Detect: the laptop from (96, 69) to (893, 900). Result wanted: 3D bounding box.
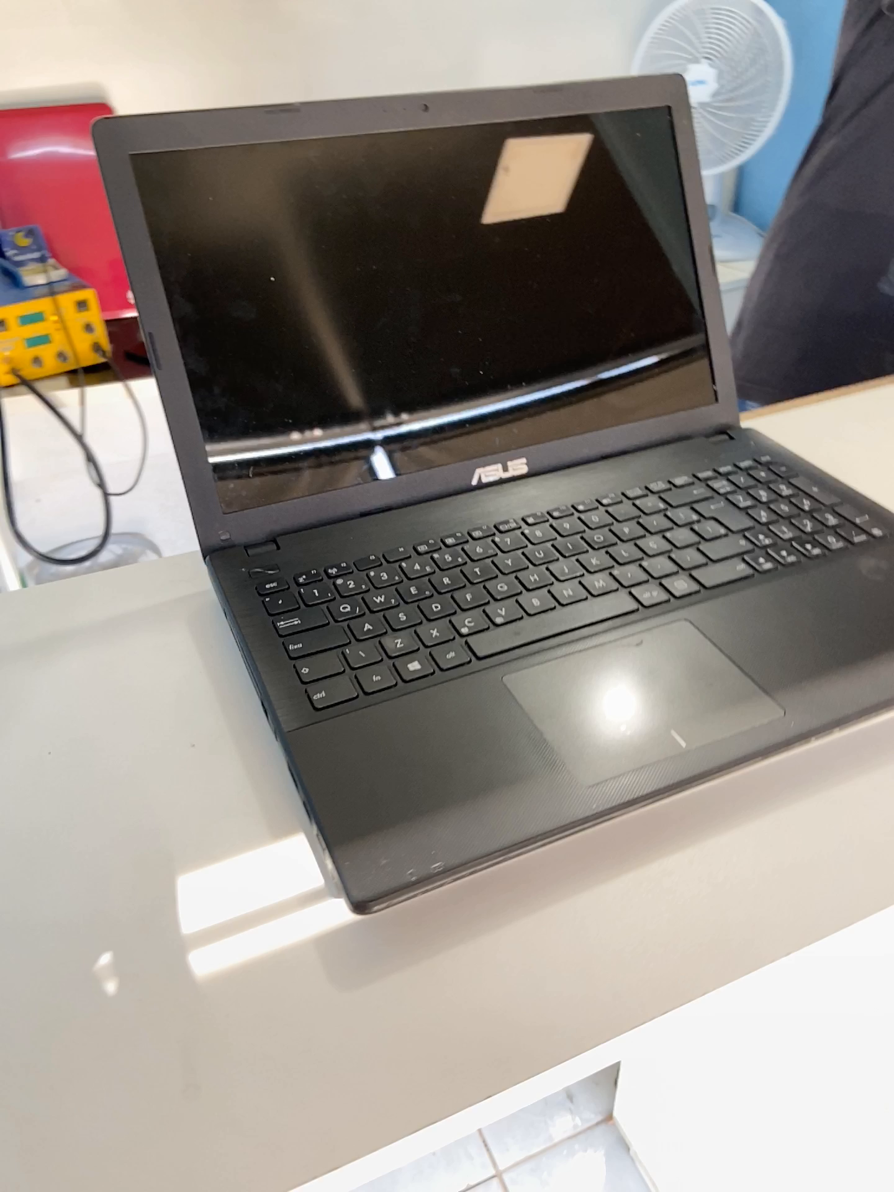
[{"bbox_3d":[0.058,-0.118,0.462,0.368,0.200,0.363,-16,38,-18],"label":"laptop"}]
